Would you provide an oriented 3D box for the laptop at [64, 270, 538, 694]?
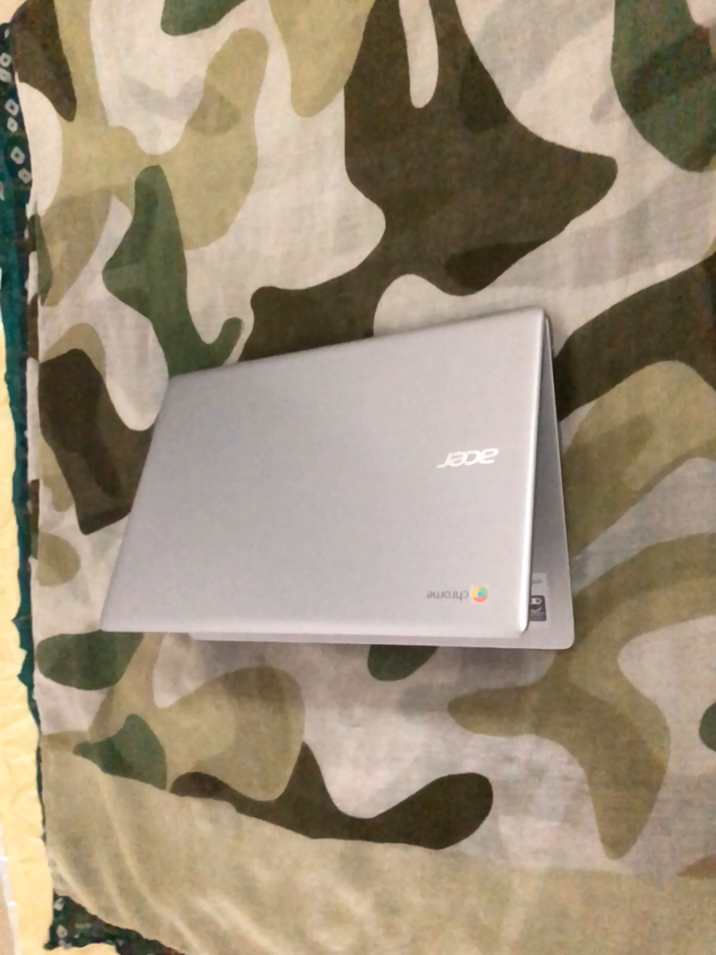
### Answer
[{"bbox_3d":[-0.050,0.010,0.561,0.311,0.125,0.232,-6,82,30],"label":"laptop"}]
